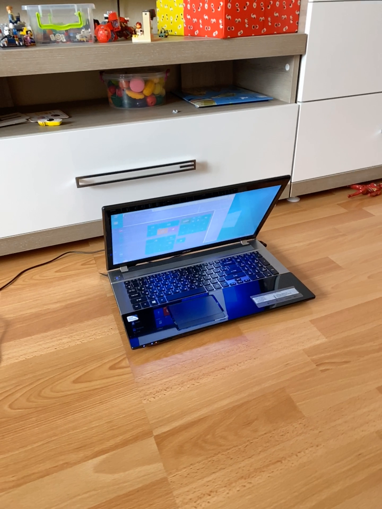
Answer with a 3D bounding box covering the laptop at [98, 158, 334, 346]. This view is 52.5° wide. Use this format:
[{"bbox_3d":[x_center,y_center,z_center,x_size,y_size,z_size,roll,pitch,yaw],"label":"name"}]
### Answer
[{"bbox_3d":[0.037,-0.031,0.848,0.412,0.233,0.270,-12,32,-16],"label":"laptop"}]
